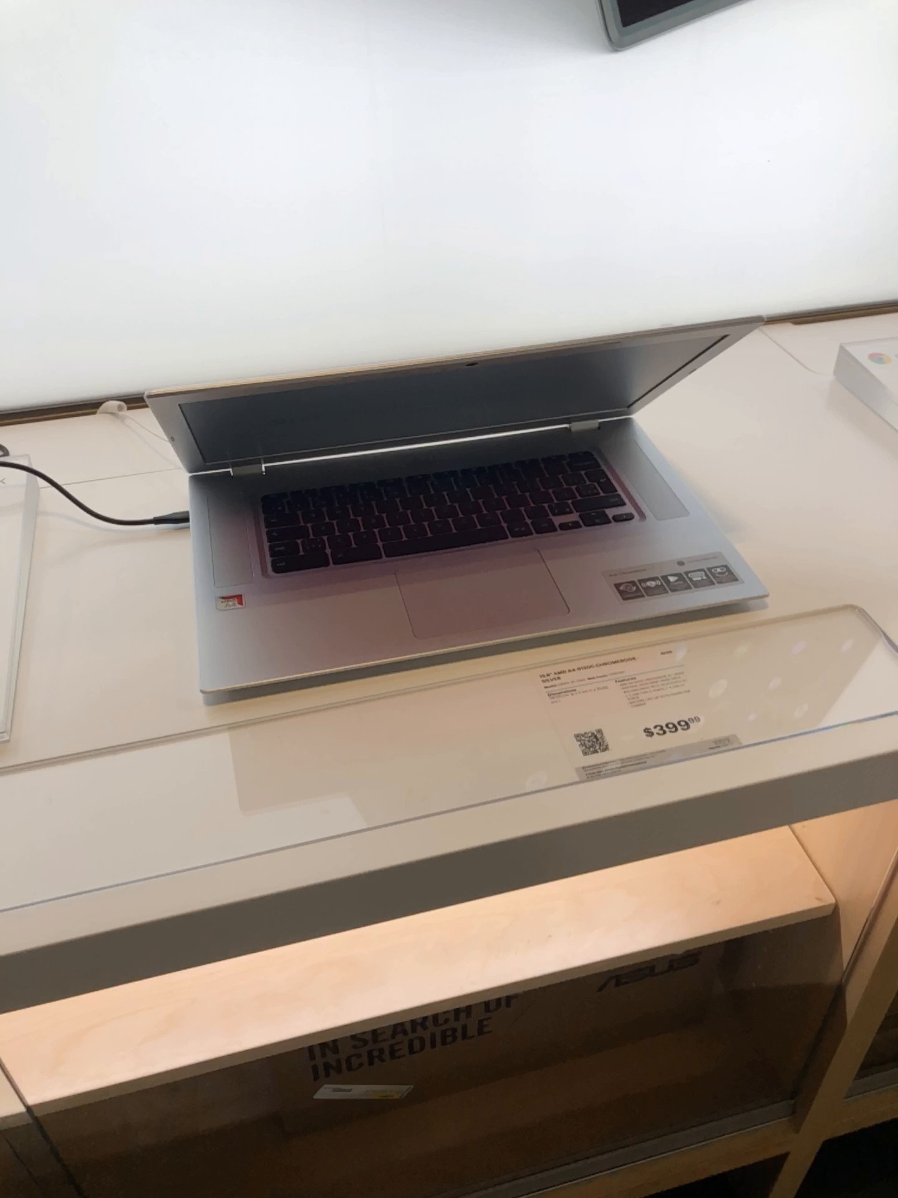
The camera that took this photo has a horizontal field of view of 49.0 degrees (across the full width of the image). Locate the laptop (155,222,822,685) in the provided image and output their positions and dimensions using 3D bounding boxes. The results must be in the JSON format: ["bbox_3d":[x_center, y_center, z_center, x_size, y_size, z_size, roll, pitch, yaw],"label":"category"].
[{"bbox_3d":[0.003,-0.118,0.676,0.367,0.166,0.256,-9,38,-9],"label":"laptop"}]
